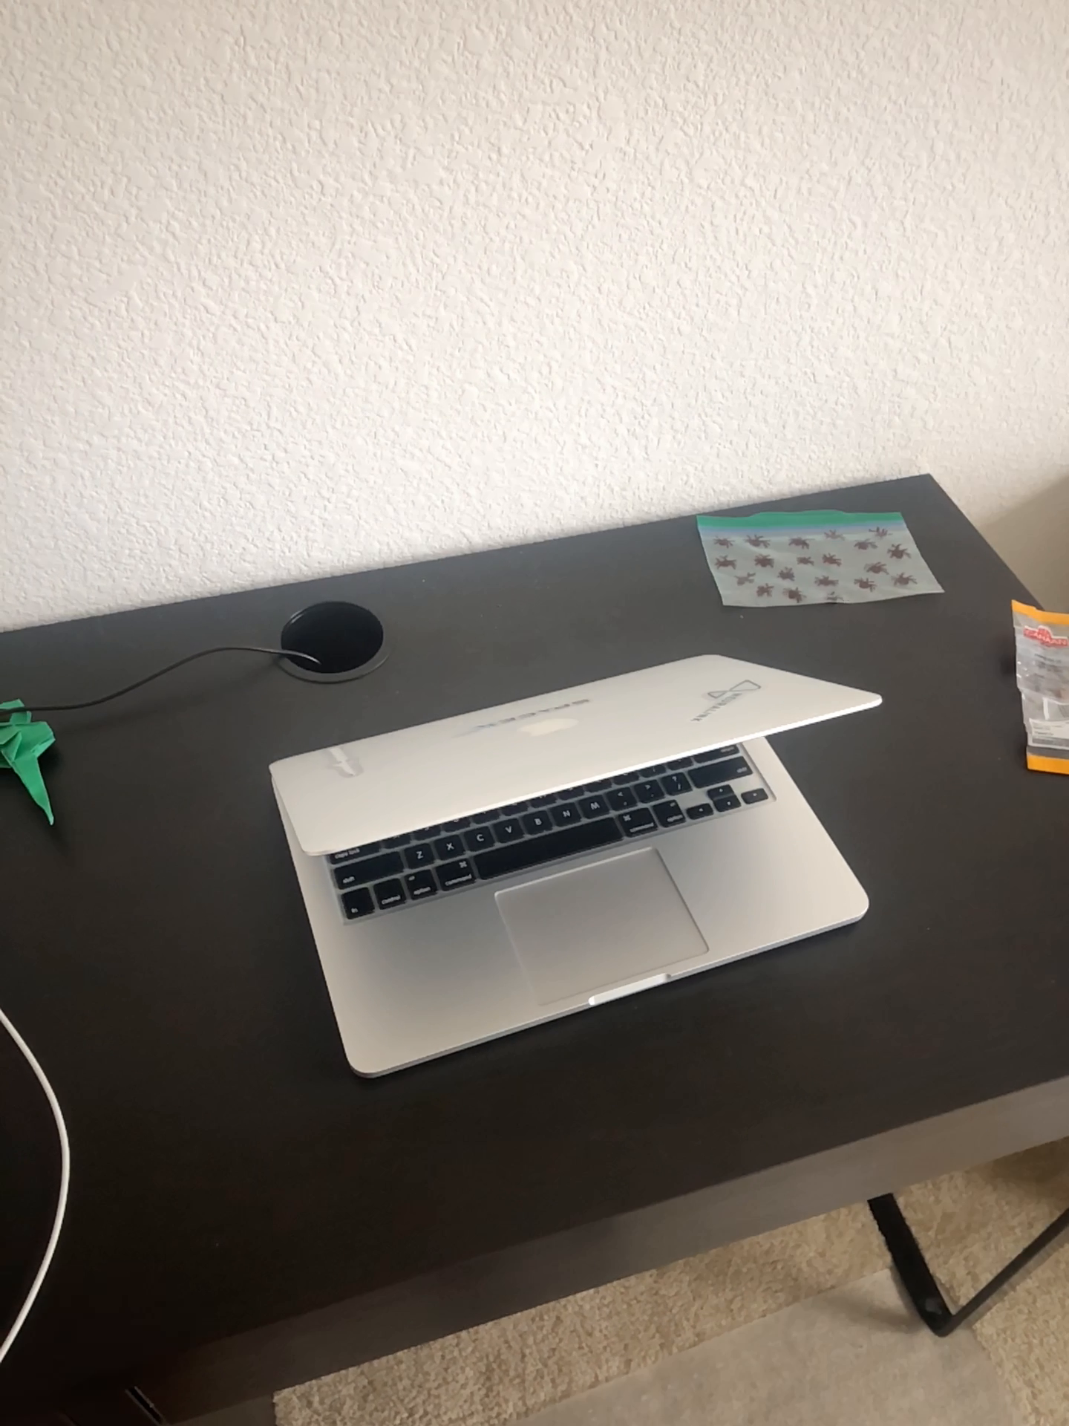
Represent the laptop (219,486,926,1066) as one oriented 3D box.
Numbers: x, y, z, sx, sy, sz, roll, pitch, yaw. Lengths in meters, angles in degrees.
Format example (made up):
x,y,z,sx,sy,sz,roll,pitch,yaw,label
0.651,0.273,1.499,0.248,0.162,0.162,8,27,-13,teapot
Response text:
x,y,z,sx,sy,sz,roll,pitch,yaw,label
0.008,0.020,0.660,0.309,0.133,0.225,-14,49,-15,laptop
